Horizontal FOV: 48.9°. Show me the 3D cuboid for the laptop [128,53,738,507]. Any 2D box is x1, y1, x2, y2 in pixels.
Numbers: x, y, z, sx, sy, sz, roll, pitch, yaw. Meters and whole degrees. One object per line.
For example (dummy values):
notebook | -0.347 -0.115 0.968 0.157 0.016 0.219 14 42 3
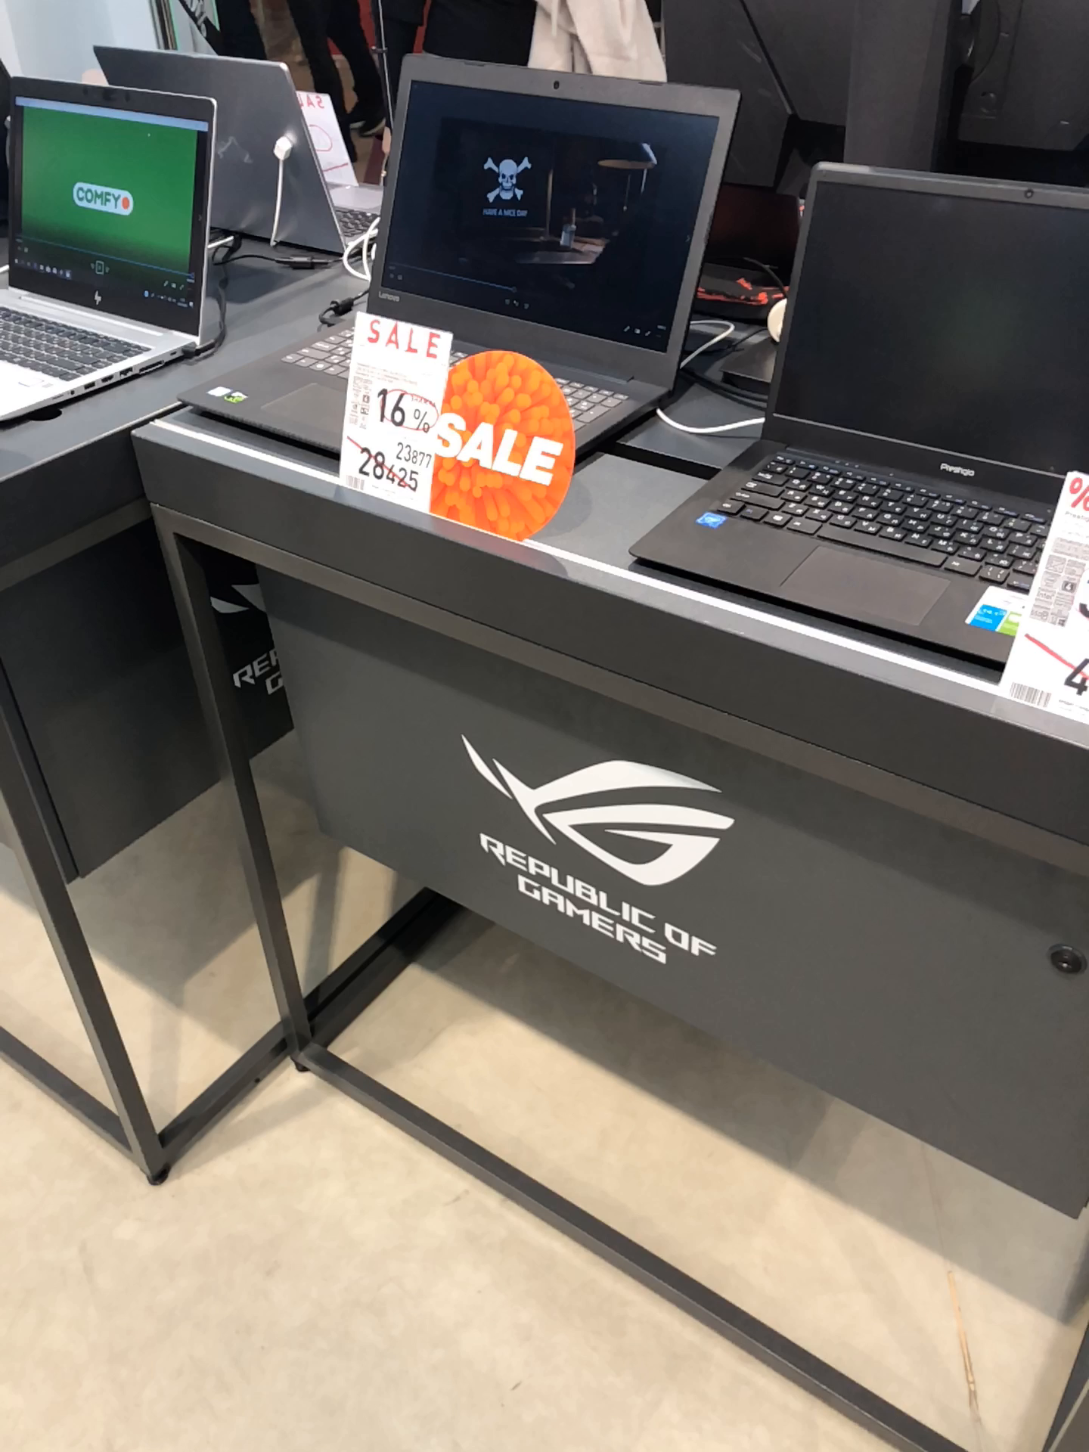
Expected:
laptop | -0.087 -0.421 1.068 0.383 0.235 0.335 23 45 30
